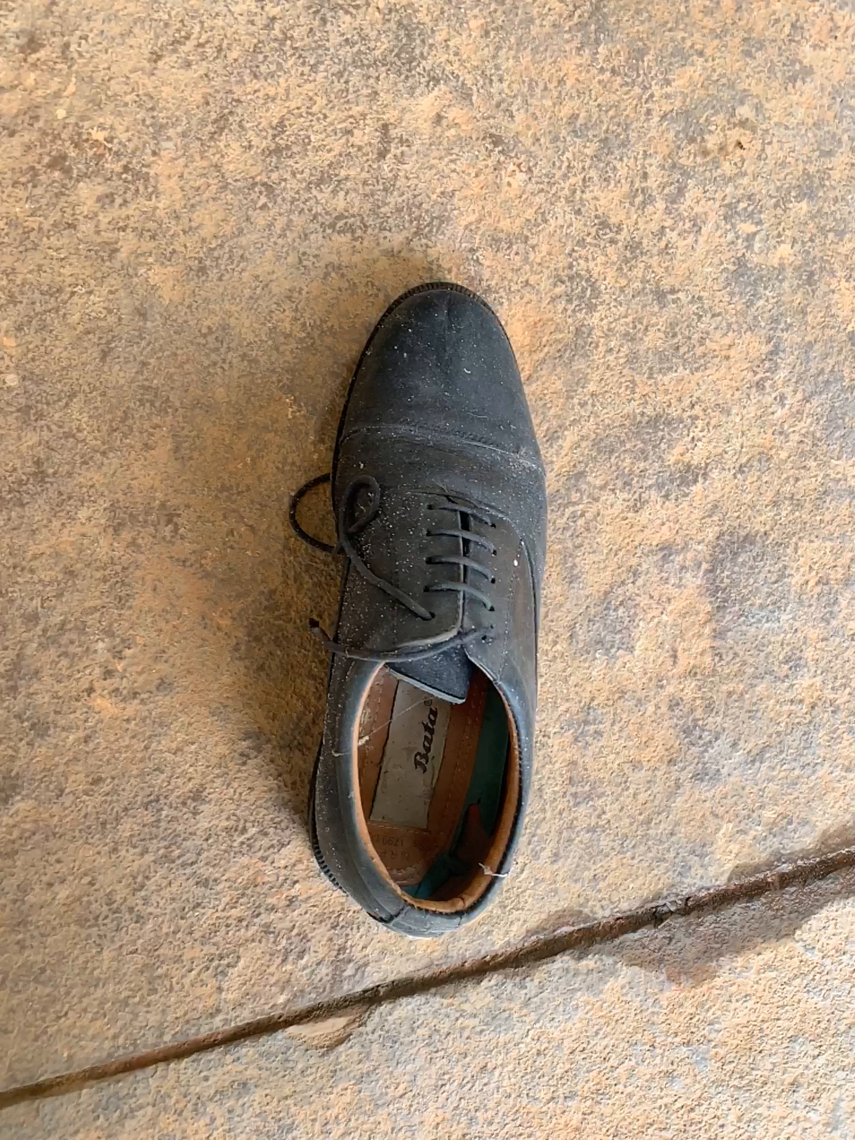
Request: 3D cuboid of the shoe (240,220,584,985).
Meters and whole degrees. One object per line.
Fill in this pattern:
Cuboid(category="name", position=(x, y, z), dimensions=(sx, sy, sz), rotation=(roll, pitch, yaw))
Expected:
Cuboid(category="shoe", position=(-0.010, 0.014, 0.364), dimensions=(0.100, 0.090, 0.270), rotation=(7, 85, -11))
